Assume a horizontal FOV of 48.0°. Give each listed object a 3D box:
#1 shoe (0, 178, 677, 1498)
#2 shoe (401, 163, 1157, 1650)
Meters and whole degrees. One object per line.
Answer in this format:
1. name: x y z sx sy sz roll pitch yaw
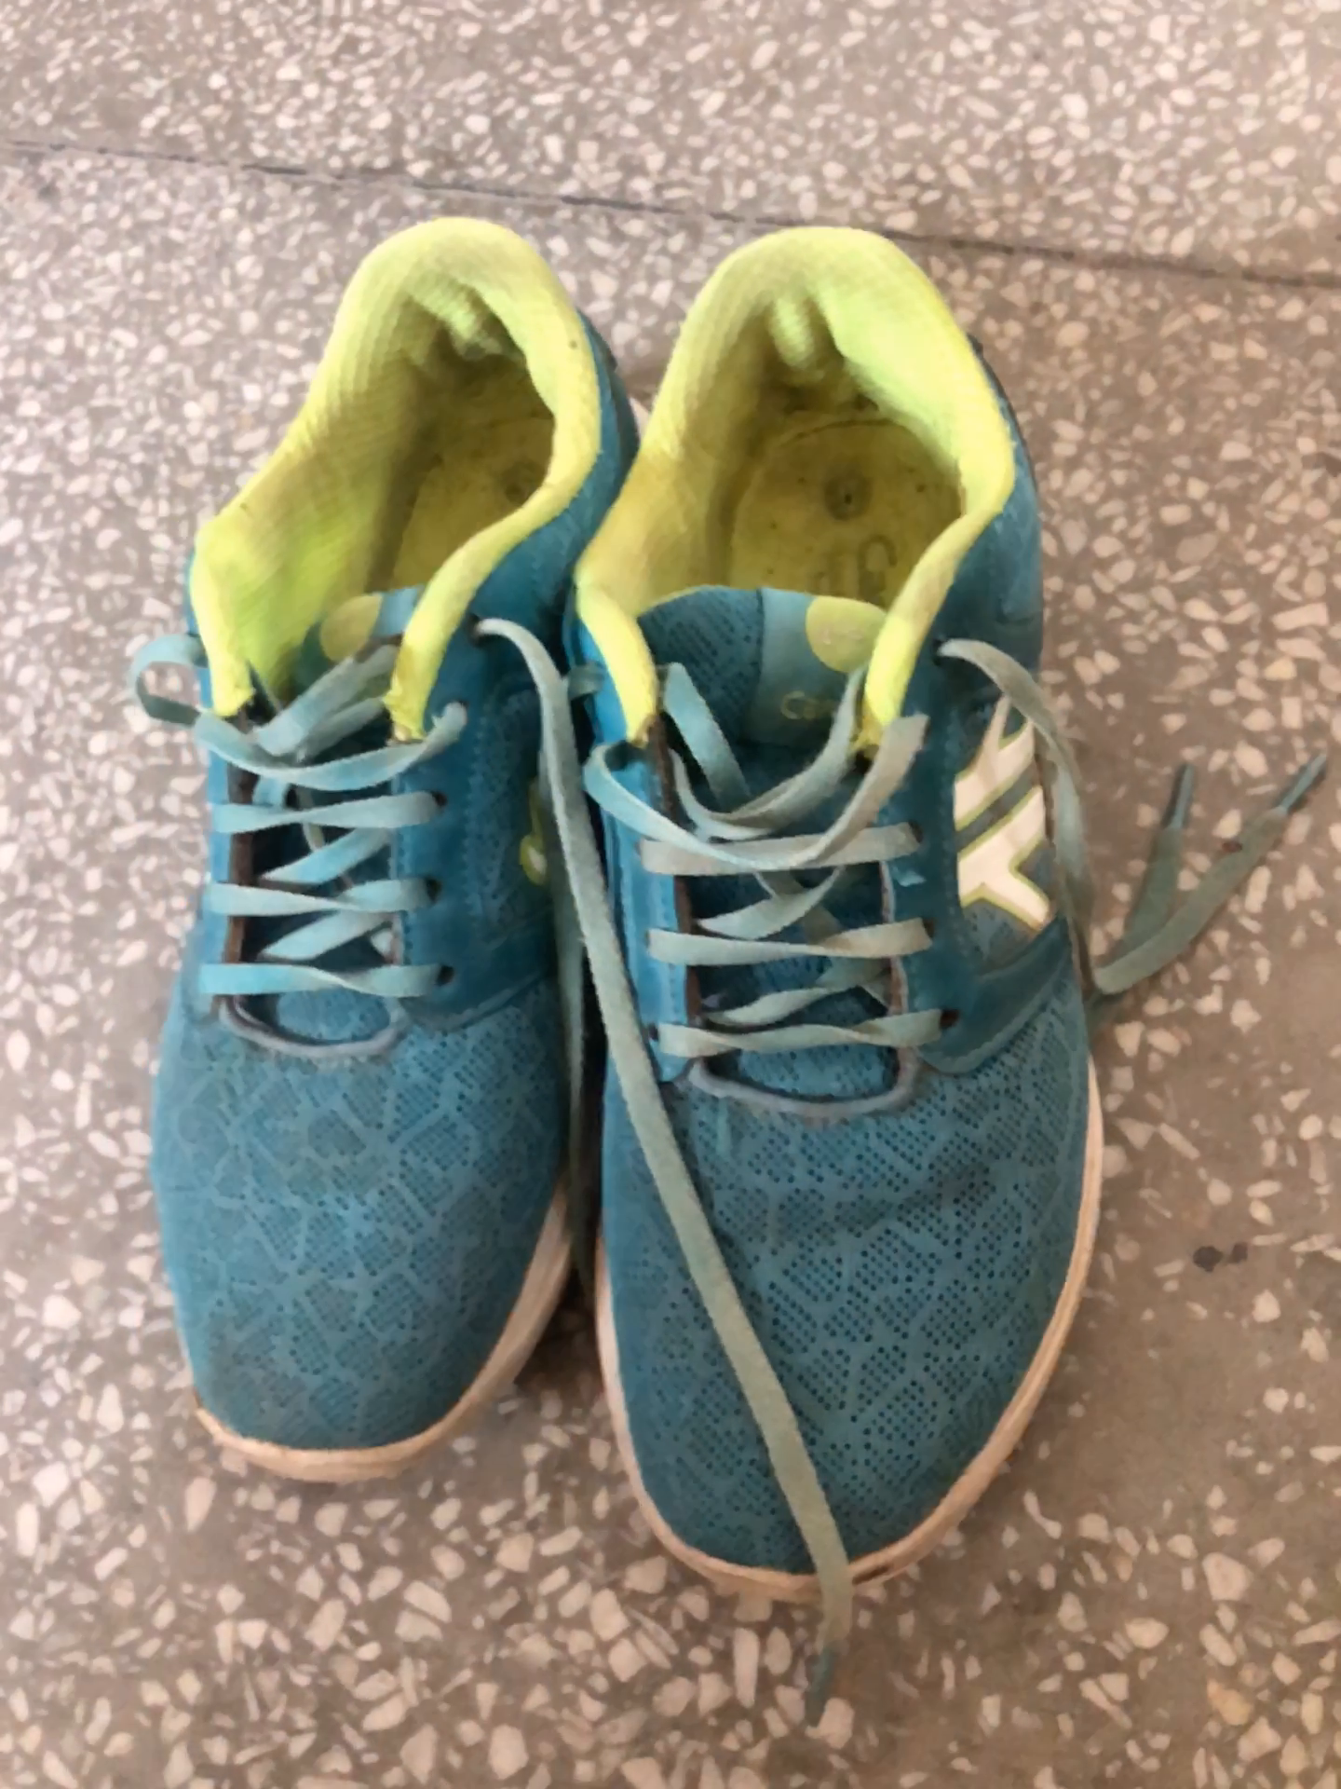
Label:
1. shoe: -0.064 -0.011 0.294 0.091 0.091 0.230 2 69 13
2. shoe: 0.027 -0.002 0.267 0.095 0.088 0.229 0 69 12
